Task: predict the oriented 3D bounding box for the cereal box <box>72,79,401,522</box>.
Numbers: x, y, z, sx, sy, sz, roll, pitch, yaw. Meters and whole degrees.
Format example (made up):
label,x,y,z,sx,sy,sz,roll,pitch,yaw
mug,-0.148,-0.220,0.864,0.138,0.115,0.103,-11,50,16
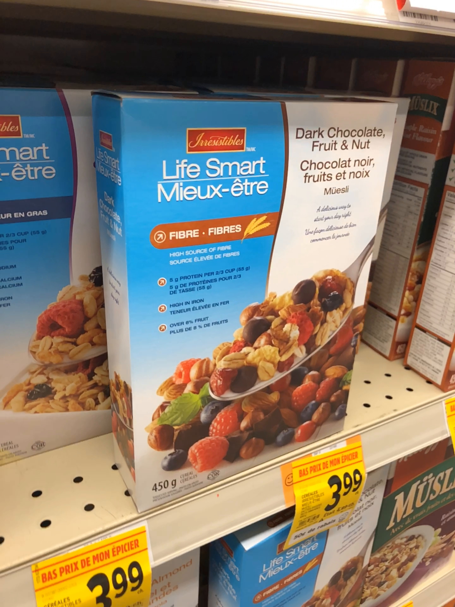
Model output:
label,x,y,z,sx,sy,sz,roll,pitch,yaw
cereal box,0.006,-0.004,0.311,0.170,0.238,0.050,-12,28,-29
